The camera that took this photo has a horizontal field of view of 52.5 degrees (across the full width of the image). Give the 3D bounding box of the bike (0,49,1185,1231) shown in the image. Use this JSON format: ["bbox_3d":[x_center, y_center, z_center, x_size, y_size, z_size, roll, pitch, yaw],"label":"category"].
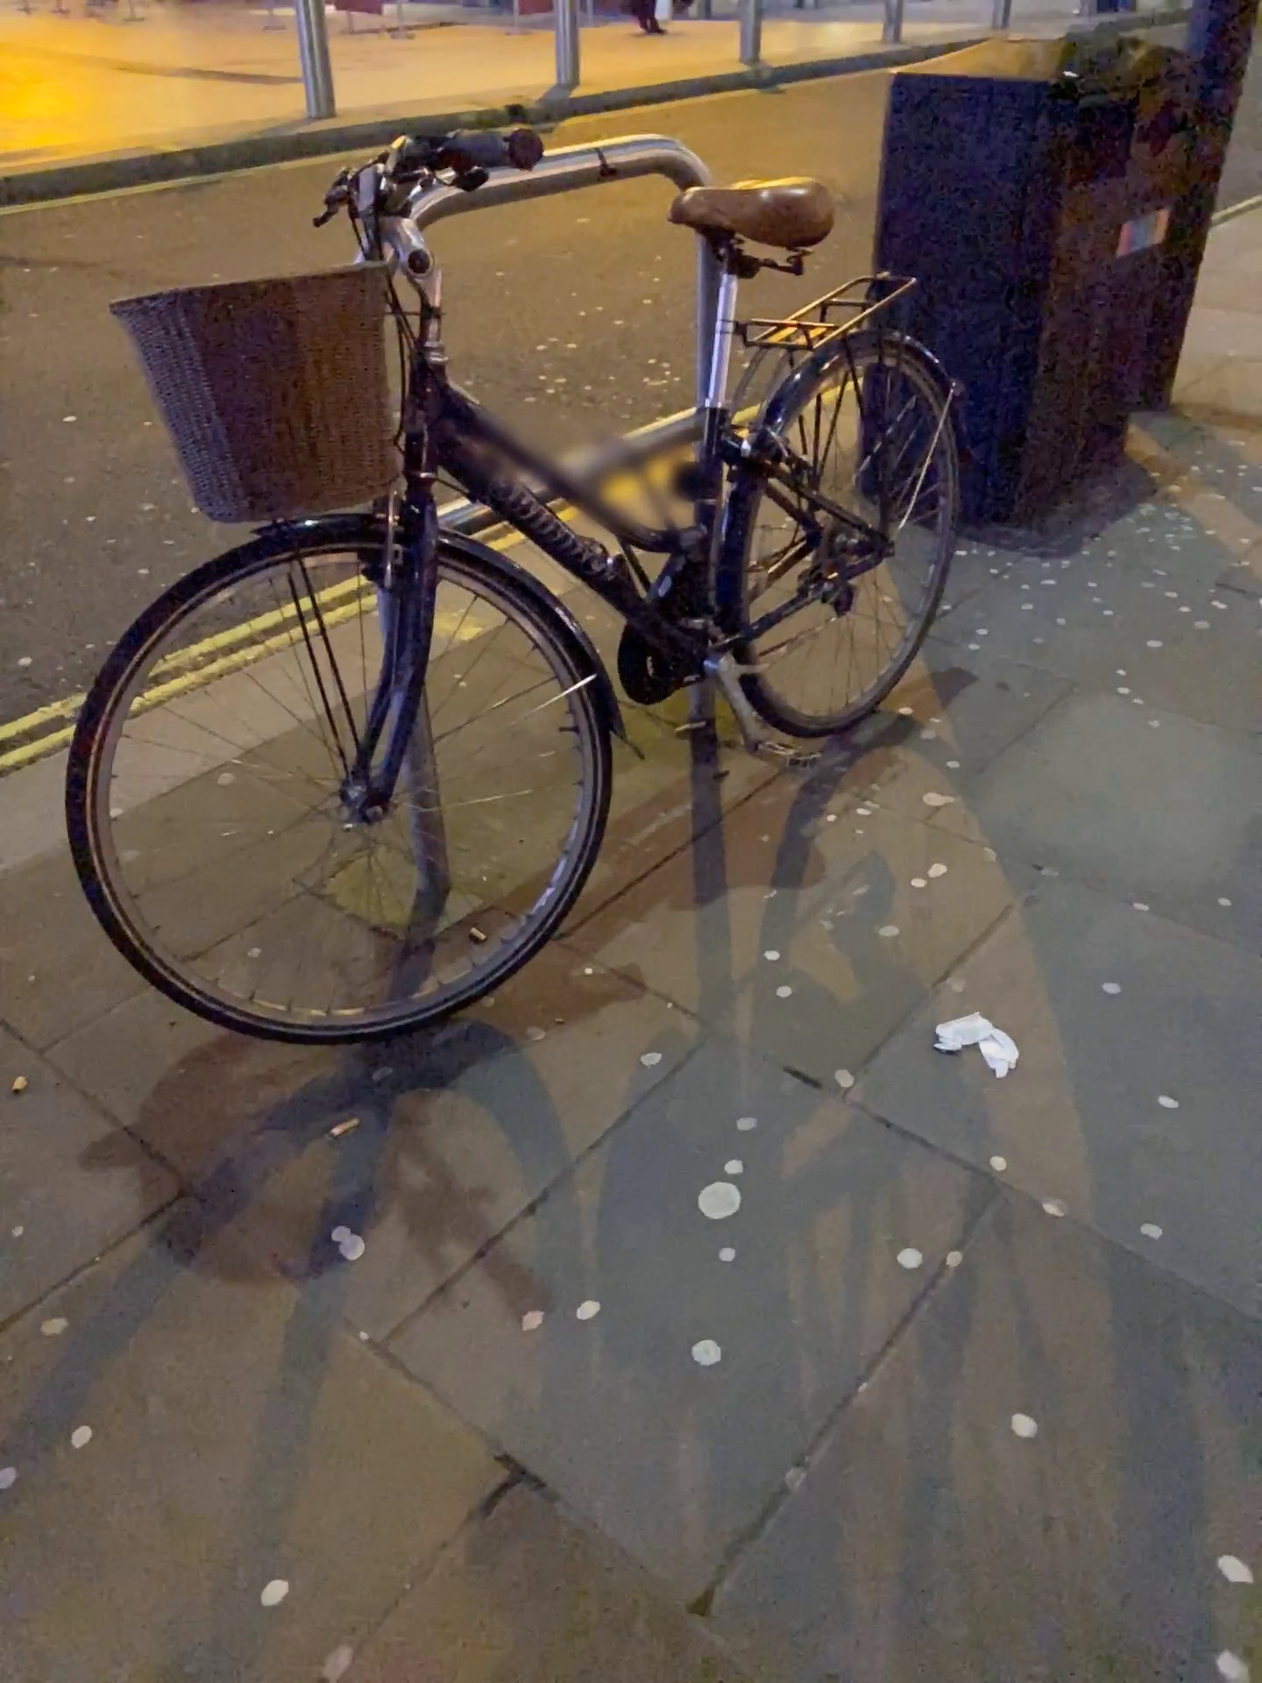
[{"bbox_3d":[-0.035,-0.464,1.923,1.715,1.063,0.661,-31,45,-33],"label":"bike"}]
